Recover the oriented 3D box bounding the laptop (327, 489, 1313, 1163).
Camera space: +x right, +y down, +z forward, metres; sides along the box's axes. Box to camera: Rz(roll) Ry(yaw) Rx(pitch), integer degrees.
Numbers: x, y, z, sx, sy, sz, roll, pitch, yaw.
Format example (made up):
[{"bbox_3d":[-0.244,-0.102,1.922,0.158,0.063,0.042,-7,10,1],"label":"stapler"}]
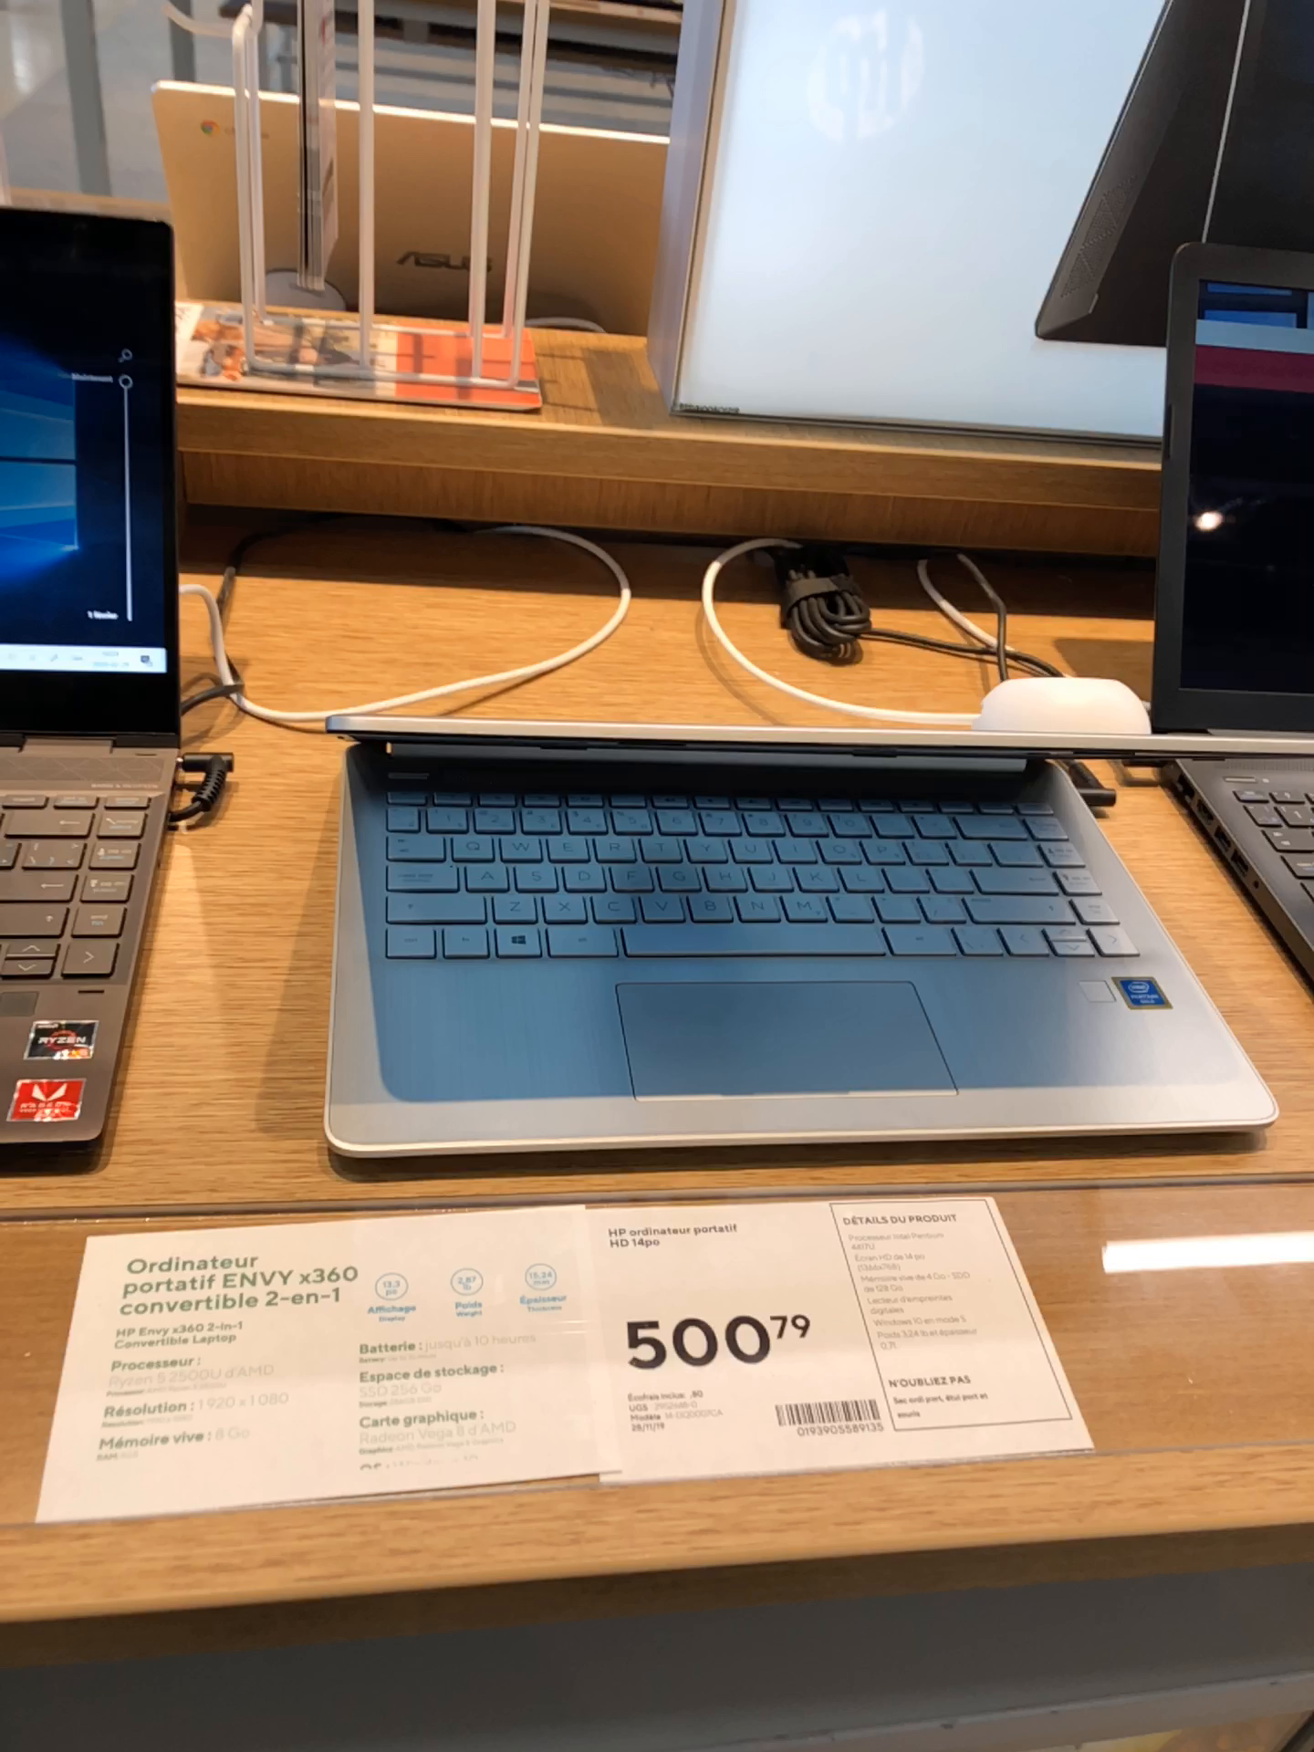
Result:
[{"bbox_3d":[0.049,-0.028,0.510,0.314,0.110,0.217,0,39,-10],"label":"laptop"}]
